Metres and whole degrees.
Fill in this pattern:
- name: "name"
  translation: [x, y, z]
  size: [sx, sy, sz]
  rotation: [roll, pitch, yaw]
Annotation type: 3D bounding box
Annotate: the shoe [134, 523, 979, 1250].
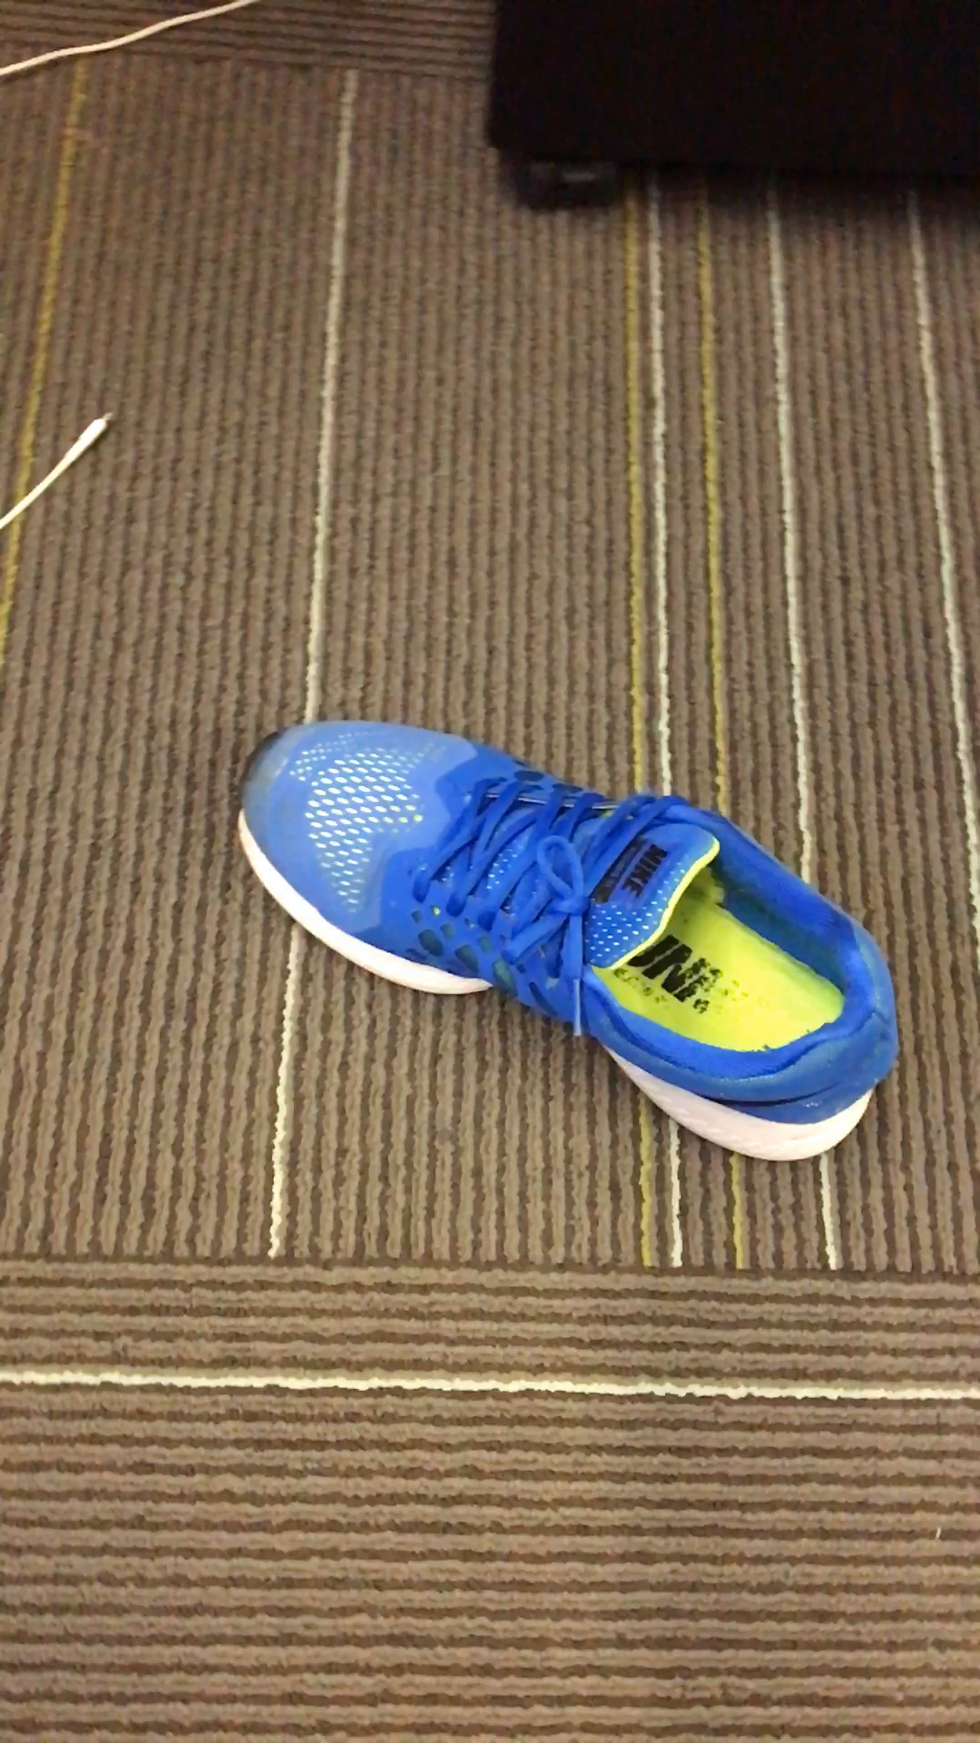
- name: "shoe"
  translation: [0.030, 0.015, 0.583]
  size: [0.310, 0.150, 0.110]
  rotation: [30, 71, 6]
